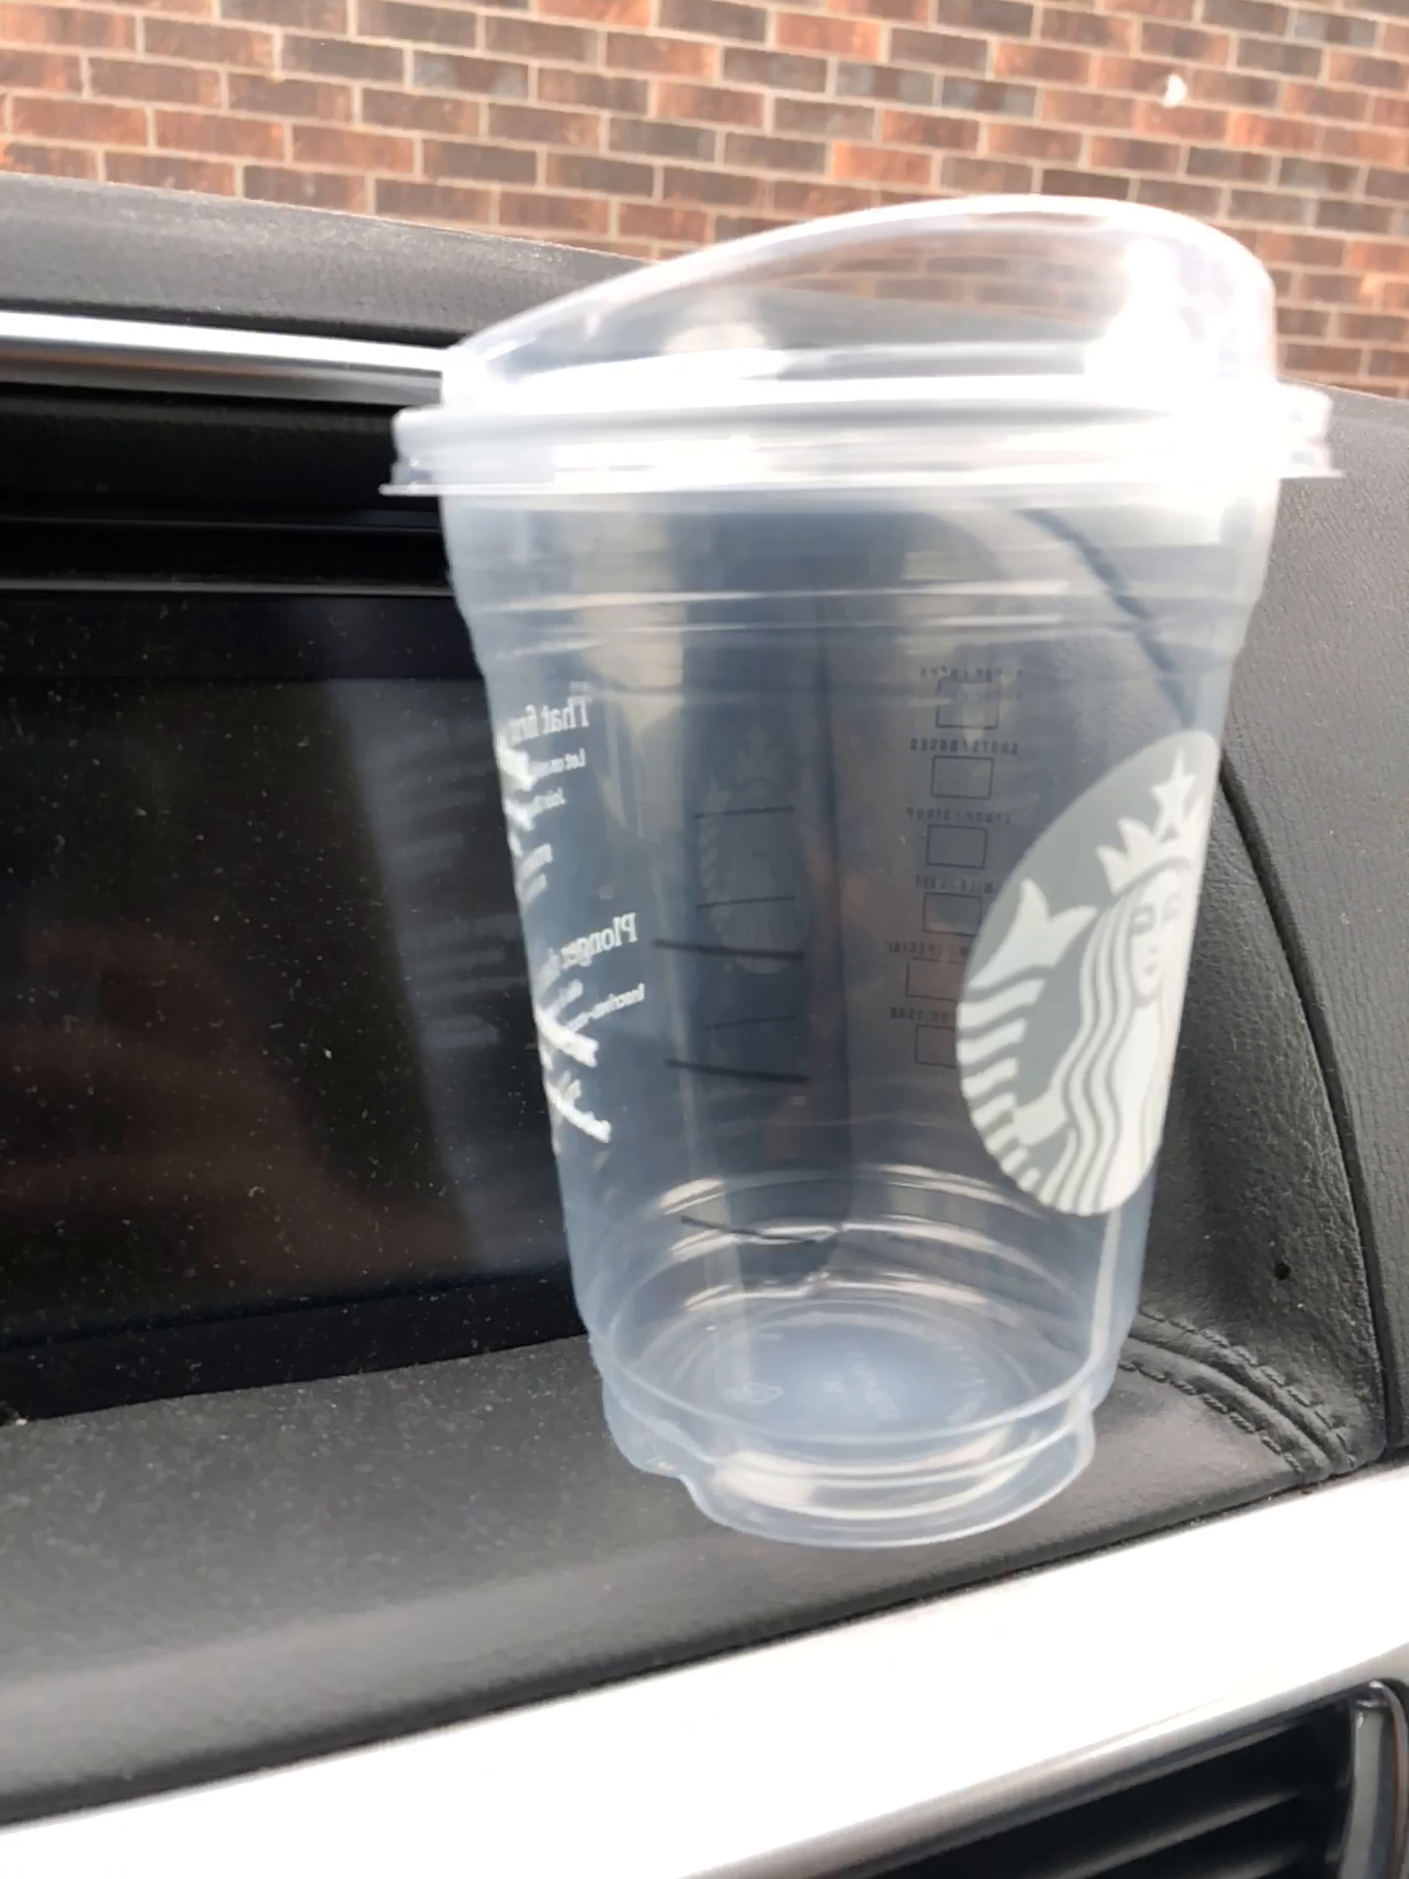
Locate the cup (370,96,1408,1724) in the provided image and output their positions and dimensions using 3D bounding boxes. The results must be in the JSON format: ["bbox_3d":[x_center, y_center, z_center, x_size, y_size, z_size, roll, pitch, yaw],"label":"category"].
[{"bbox_3d":[0.024,-0.012,0.171,0.088,0.125,0.082,4,19,-1],"label":"cup"}]
